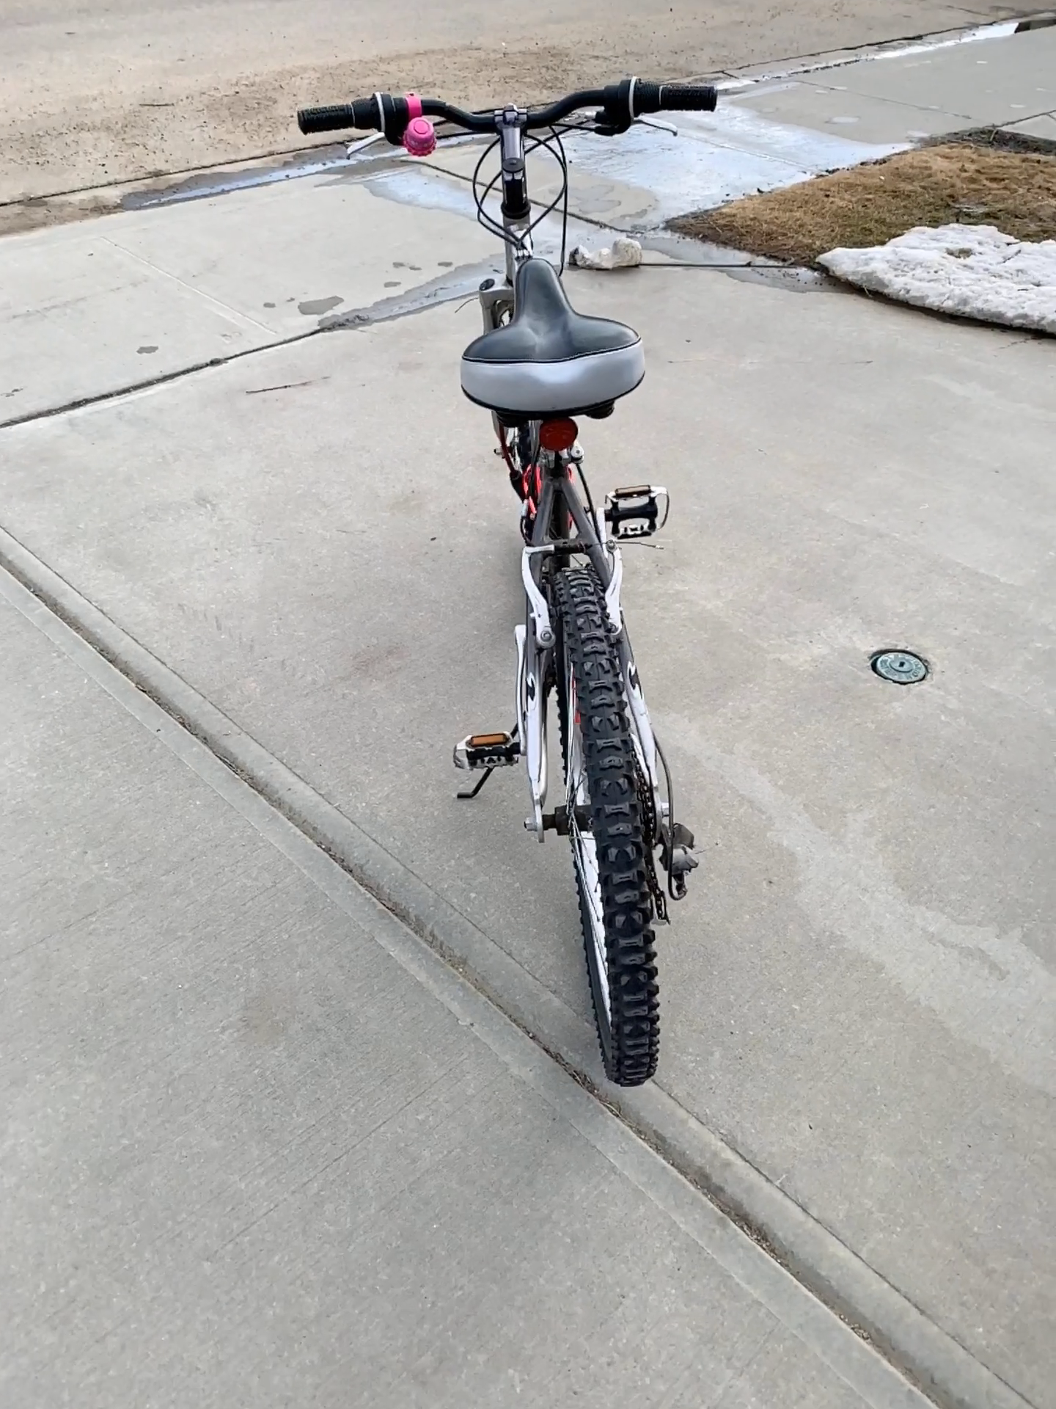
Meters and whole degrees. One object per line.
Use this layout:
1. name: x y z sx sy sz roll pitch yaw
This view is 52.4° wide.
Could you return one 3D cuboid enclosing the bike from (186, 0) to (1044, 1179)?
1. bike: 0.001 -0.313 1.482 0.538 0.824 1.509 -1 43 -4
